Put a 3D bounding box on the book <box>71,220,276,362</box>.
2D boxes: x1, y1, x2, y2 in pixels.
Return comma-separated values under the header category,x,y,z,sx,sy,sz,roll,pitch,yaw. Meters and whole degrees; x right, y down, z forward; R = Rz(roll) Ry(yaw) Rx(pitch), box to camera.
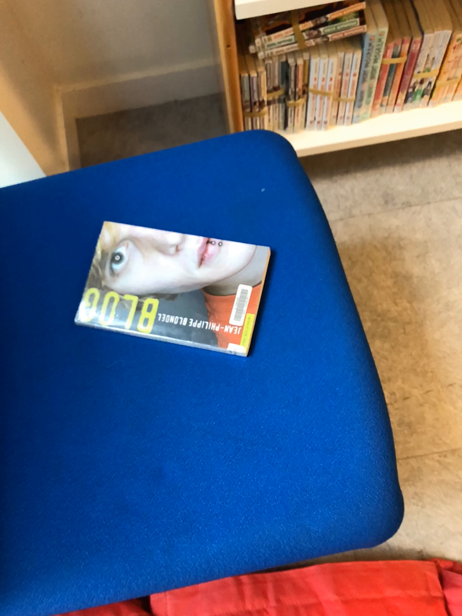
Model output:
category,x,y,z,sx,sy,sz,roll,pitch,yaw
book,-0.067,-0.025,0.623,0.220,0.019,0.143,10,71,10
